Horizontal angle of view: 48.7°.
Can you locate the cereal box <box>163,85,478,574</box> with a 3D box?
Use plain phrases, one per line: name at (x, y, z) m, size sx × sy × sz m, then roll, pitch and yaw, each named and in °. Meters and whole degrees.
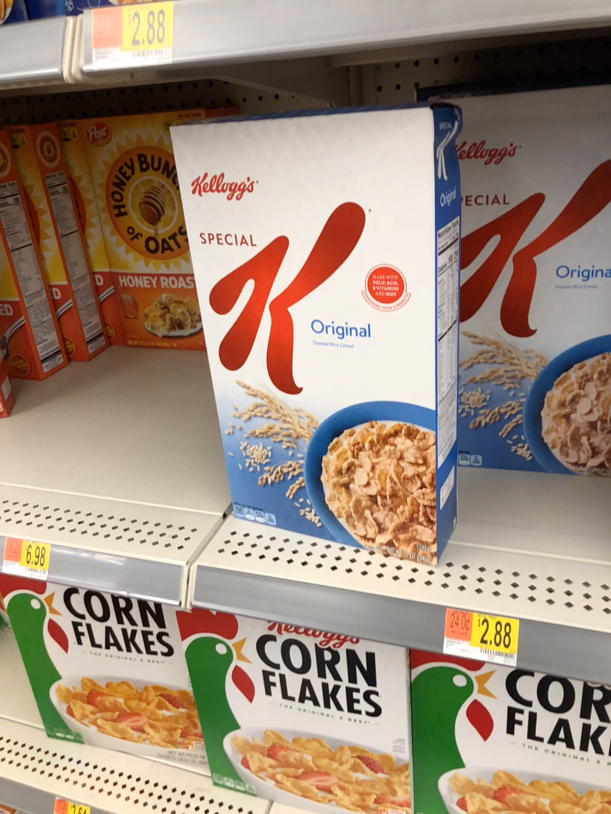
cereal box at (0.022, -0.052, 0.510) m, size 0.190 × 0.329 × 0.080 m, roll 8°, pitch 29°, yaw 27°
